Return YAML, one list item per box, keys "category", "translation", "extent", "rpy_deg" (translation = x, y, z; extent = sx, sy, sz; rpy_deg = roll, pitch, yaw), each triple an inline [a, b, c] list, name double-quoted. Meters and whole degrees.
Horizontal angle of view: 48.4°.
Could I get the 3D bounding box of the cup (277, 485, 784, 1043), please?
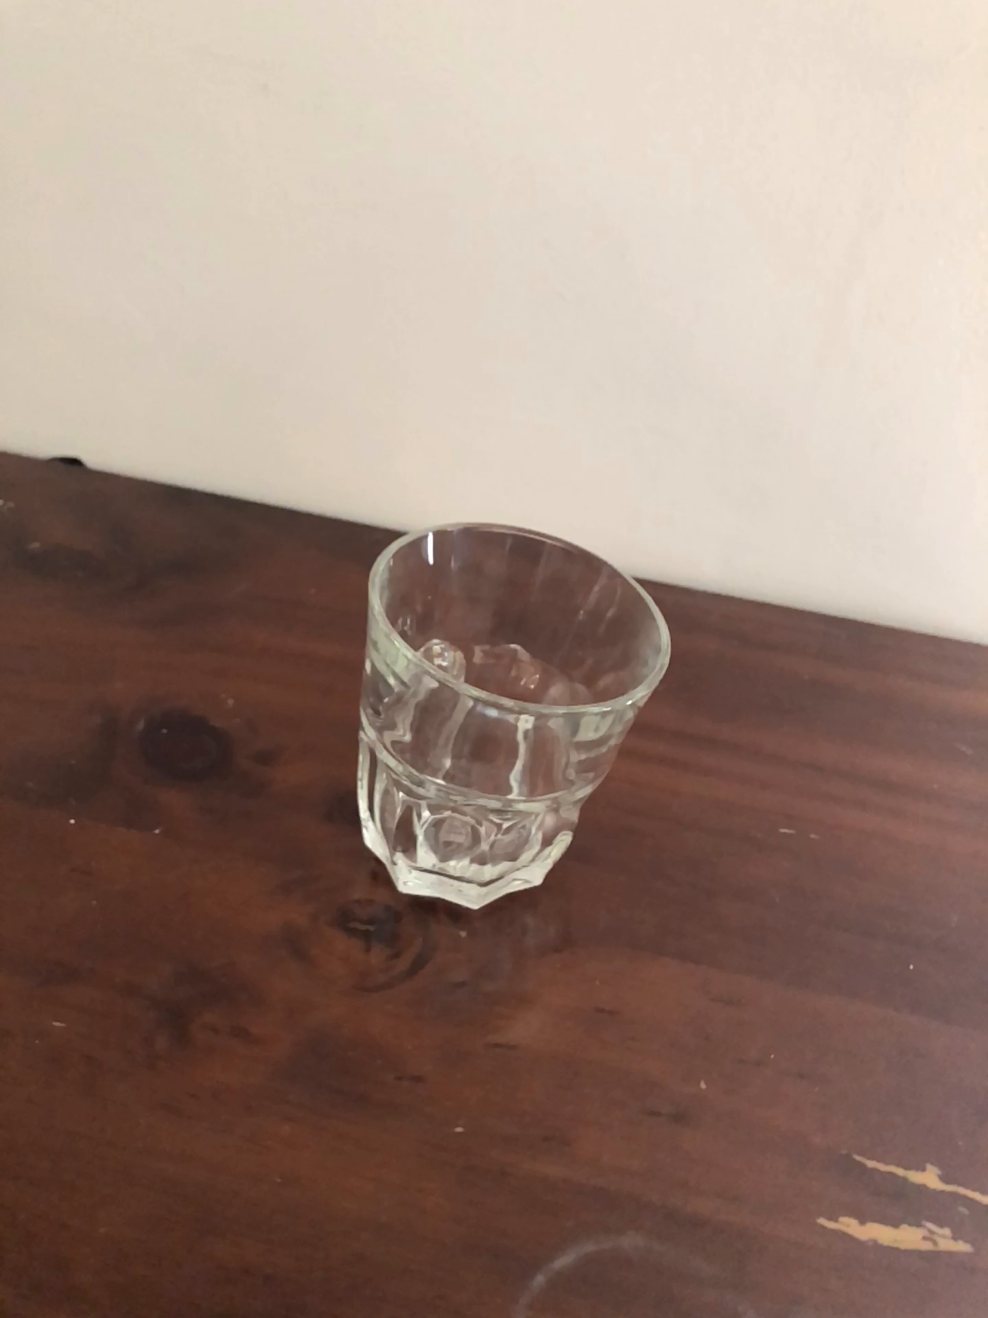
- category: "cup"
  translation: [0.005, 0.022, 0.315]
  extent: [0.100, 0.095, 0.090]
  rpy_deg: [31, 39, 32]
